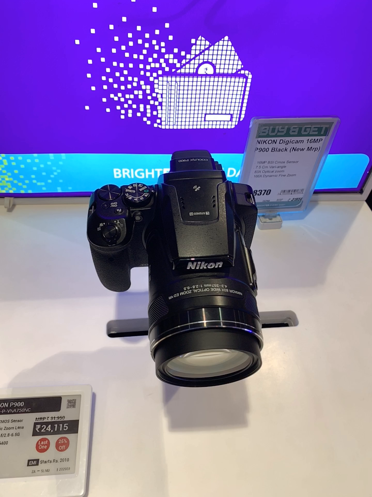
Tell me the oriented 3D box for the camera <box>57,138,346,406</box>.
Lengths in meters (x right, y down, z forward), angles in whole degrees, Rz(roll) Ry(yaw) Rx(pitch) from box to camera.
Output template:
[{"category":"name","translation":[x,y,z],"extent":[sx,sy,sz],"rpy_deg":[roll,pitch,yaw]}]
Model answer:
[{"category":"camera","translation":[-0.002,0.007,0.269],"extent":[0.140,0.090,0.161],"rpy_deg":[-2,47,-8]}]
